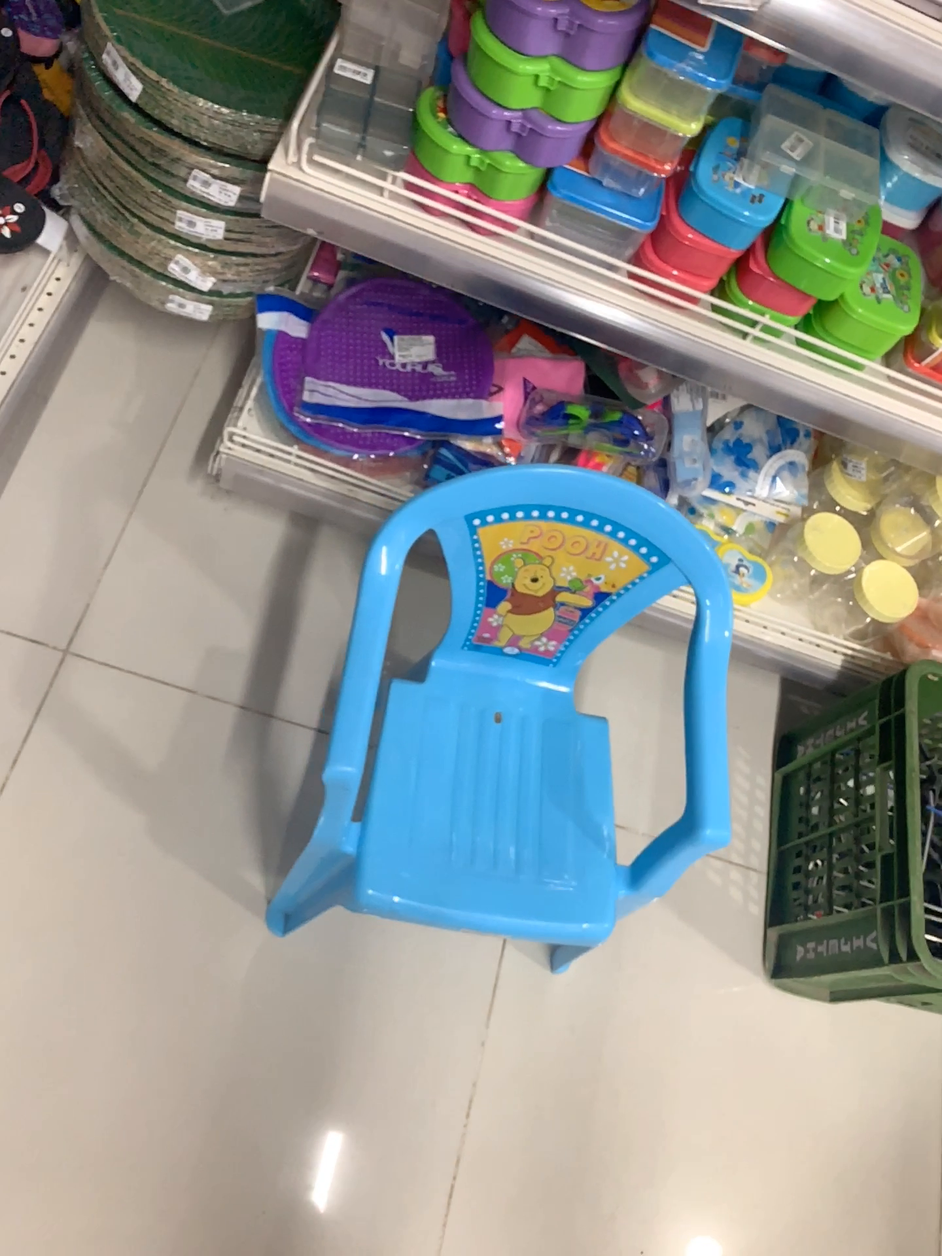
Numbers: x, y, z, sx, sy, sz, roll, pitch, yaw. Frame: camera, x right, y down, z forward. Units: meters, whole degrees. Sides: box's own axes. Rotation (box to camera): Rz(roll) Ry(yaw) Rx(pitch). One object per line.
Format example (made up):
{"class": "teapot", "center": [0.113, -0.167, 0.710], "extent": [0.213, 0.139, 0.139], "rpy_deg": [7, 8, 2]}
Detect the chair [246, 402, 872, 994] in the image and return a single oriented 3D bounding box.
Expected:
{"class": "chair", "center": [0.030, 0.124, 0.905], "extent": [0.390, 0.510, 0.350], "rpy_deg": [11, 65, -11]}
